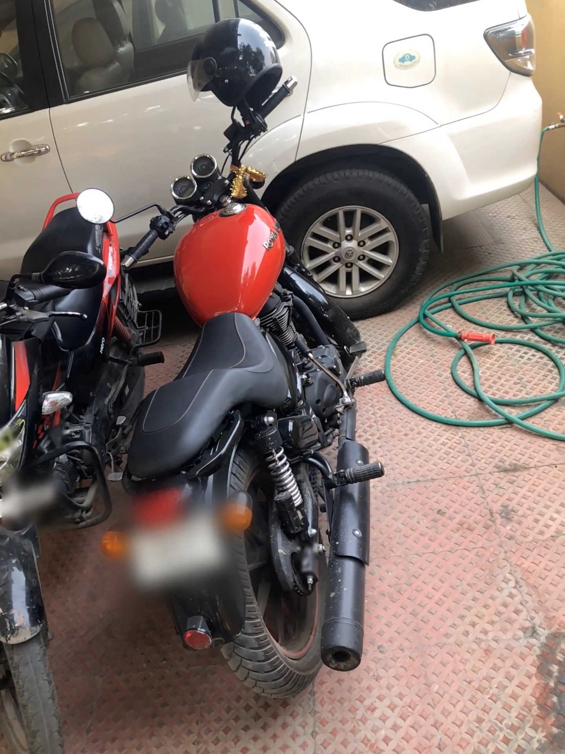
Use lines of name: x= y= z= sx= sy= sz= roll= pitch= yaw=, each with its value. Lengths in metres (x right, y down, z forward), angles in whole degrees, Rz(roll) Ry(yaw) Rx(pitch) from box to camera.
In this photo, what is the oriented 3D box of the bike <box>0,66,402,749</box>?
bike: x=-0.193 y=-0.070 z=1.912 sx=0.820 sy=1.270 sz=1.722 roll=-7 pitch=34 yaw=8
